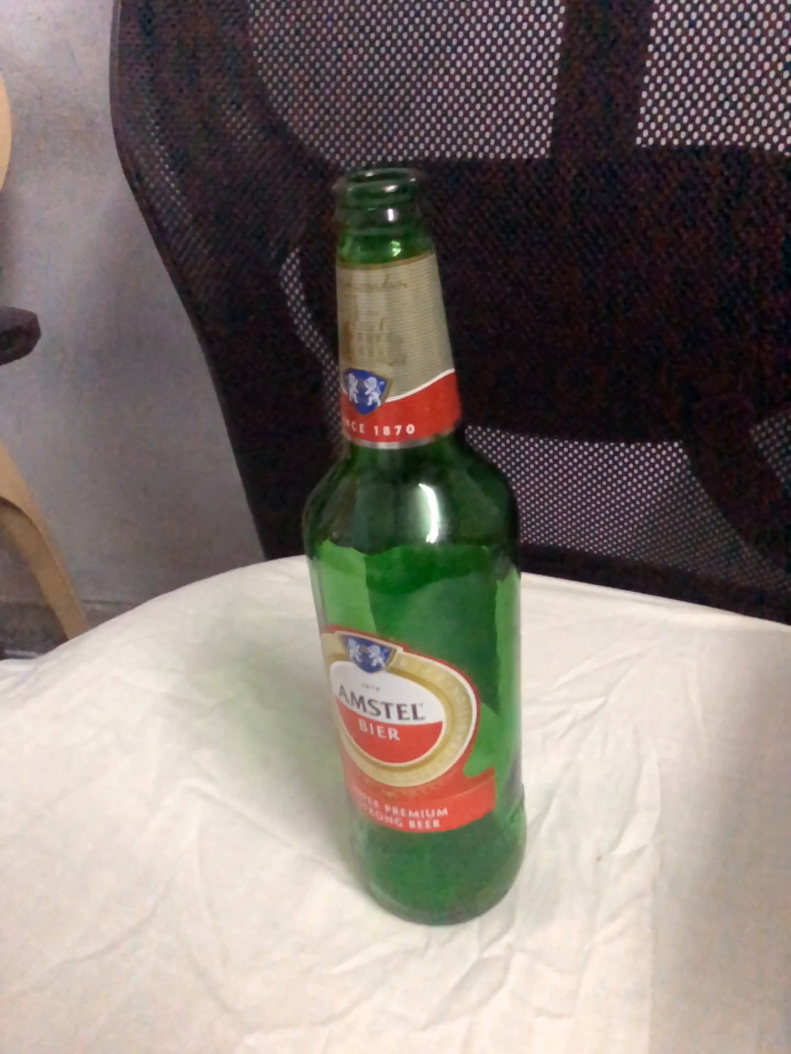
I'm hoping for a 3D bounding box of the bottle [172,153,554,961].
[{"bbox_3d":[0.002,0.028,0.300,0.080,0.279,0.060,11,36,22],"label":"bottle"}]
